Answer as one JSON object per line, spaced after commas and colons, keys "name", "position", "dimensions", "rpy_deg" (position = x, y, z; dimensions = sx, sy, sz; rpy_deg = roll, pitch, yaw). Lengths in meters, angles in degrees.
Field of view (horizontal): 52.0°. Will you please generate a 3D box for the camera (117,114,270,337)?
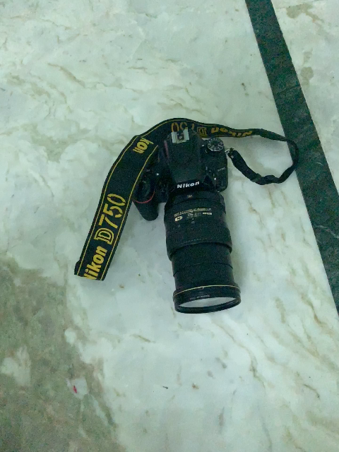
{"name": "camera", "position": [0.022, 0.000, 0.423], "dimensions": [0.139, 0.100, 0.233], "rpy_deg": [-9, 64, 7]}
